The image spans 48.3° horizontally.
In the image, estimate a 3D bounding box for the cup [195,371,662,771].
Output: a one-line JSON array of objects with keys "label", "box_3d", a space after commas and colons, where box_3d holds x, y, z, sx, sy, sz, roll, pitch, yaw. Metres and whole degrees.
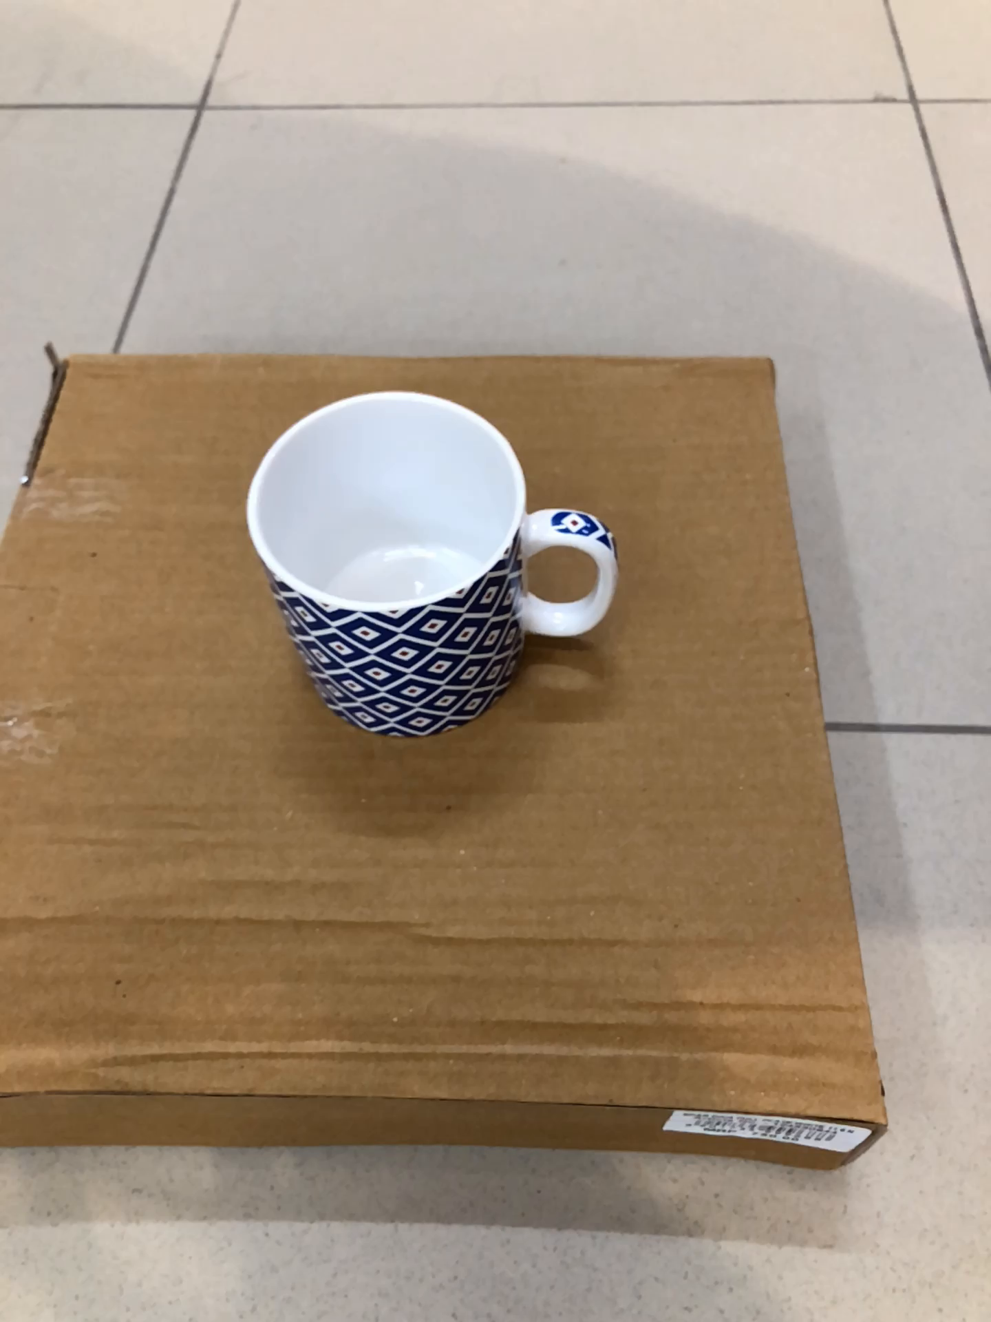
[{"label": "cup", "box_3d": [-0.014, -0.023, 0.315, 0.110, 0.080, 0.080, -1, 56, 2]}]
